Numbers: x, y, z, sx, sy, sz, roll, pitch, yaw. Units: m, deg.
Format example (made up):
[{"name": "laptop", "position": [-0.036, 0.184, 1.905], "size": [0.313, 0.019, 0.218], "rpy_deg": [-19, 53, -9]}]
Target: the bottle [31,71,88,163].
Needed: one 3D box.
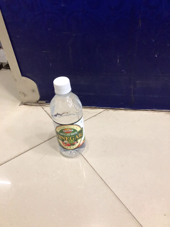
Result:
[{"name": "bottle", "position": [-0.040, 0.016, 0.391], "size": [0.080, 0.189, 0.070], "rpy_deg": [-3, 40, 3]}]
